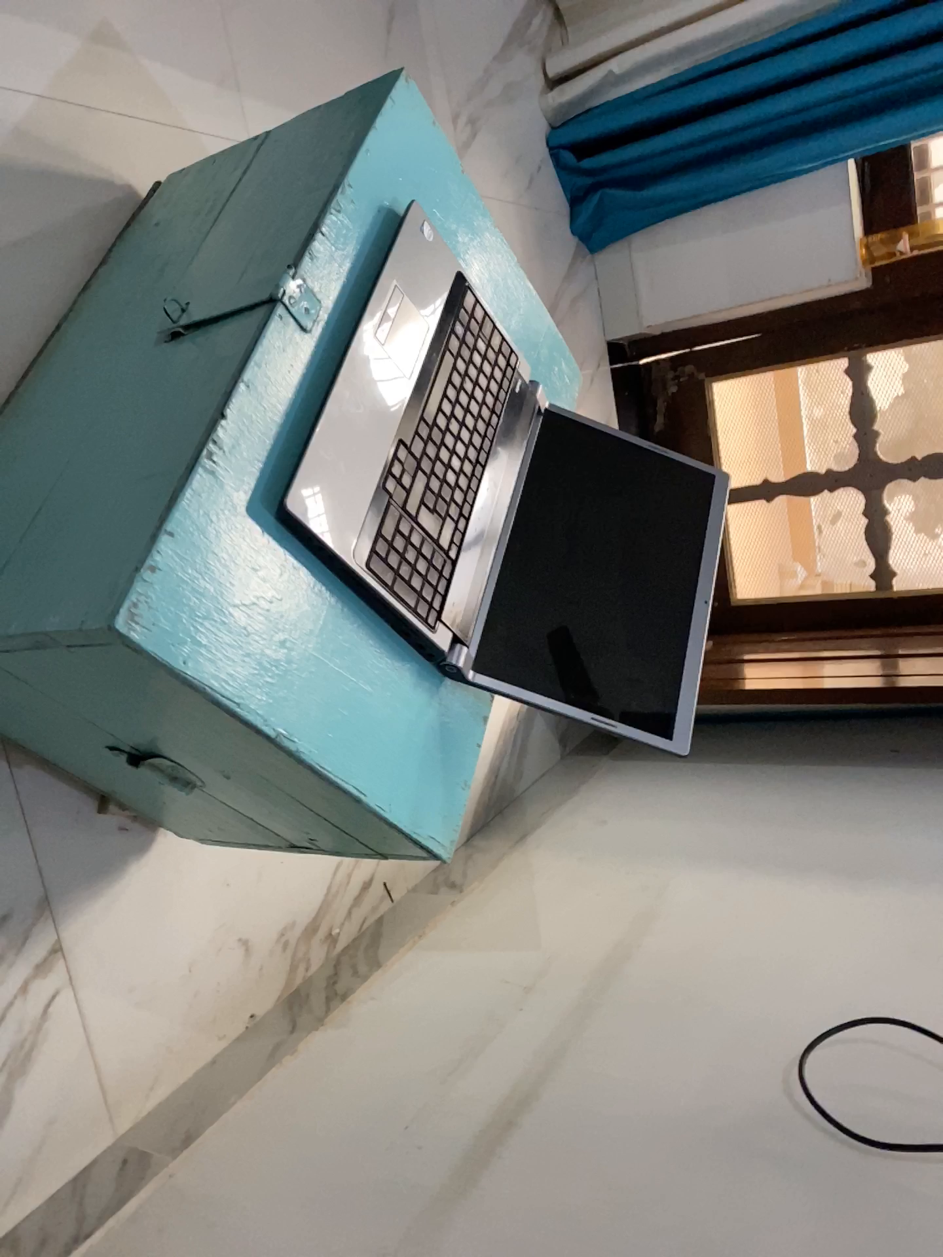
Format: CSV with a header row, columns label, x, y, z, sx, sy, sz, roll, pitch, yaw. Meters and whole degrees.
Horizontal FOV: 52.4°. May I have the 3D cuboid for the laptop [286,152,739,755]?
label,x,y,z,sx,sy,sz,roll,pitch,yaw
laptop,0.093,-0.147,1.002,0.480,0.178,0.389,46,50,-44
